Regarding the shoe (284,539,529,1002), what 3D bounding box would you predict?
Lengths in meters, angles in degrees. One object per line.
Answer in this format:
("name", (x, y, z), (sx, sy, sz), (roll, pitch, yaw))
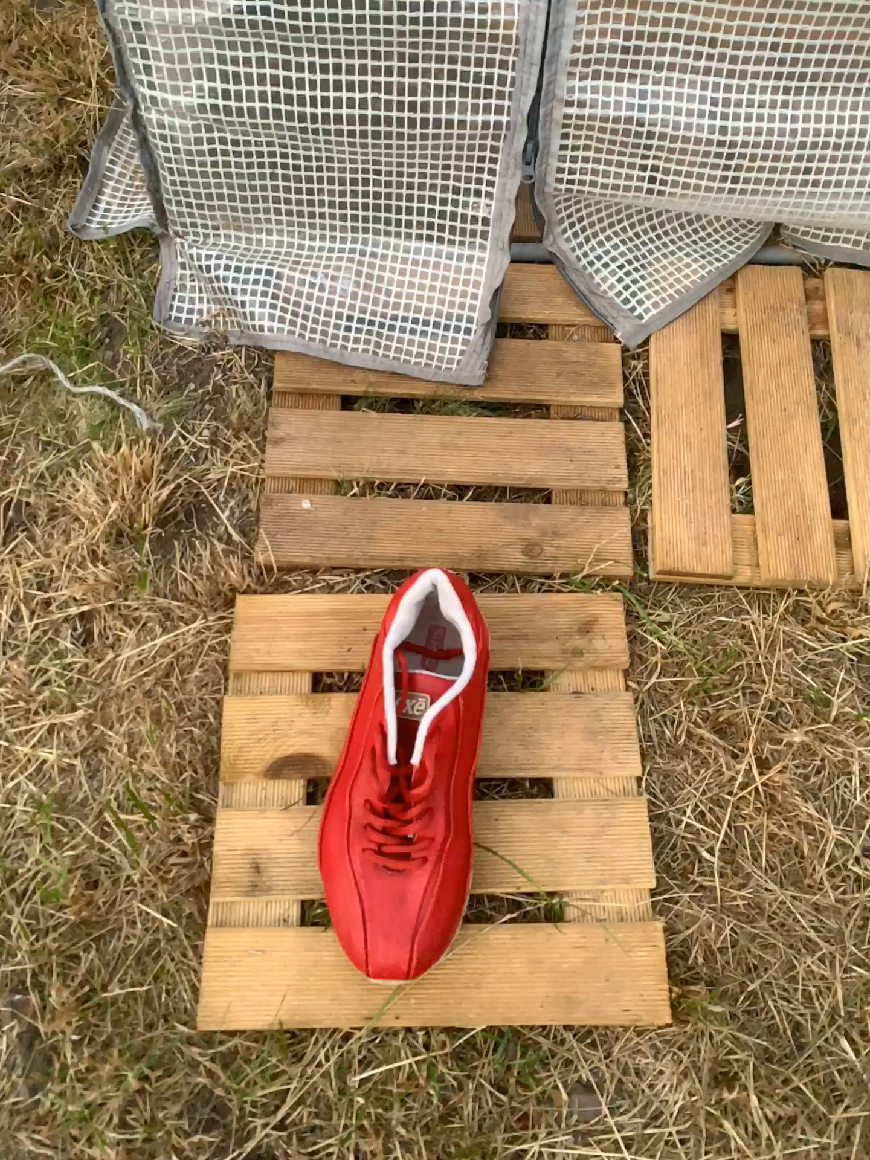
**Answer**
("shoe", (-0.011, 0.119, 0.578), (0.100, 0.100, 0.261), (9, 71, 4))
